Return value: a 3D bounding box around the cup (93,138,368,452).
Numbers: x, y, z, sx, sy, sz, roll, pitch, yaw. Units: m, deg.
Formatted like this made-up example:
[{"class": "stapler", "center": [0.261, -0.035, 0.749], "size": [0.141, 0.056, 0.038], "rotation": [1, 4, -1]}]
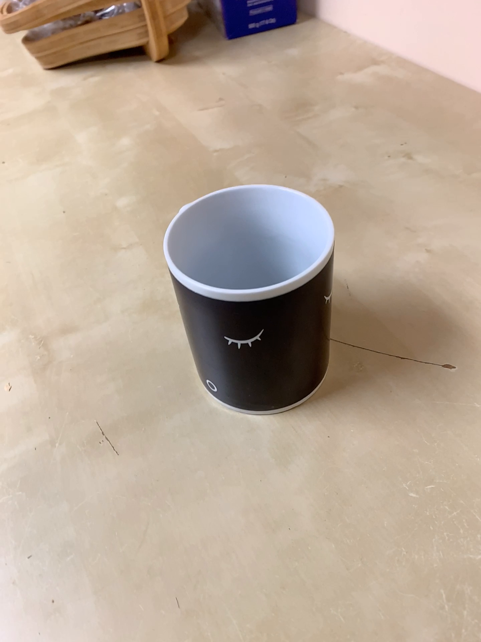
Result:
[{"class": "cup", "center": [-0.007, -0.018, 0.278], "size": [0.083, 0.101, 0.122], "rotation": [-28, 50, -17]}]
